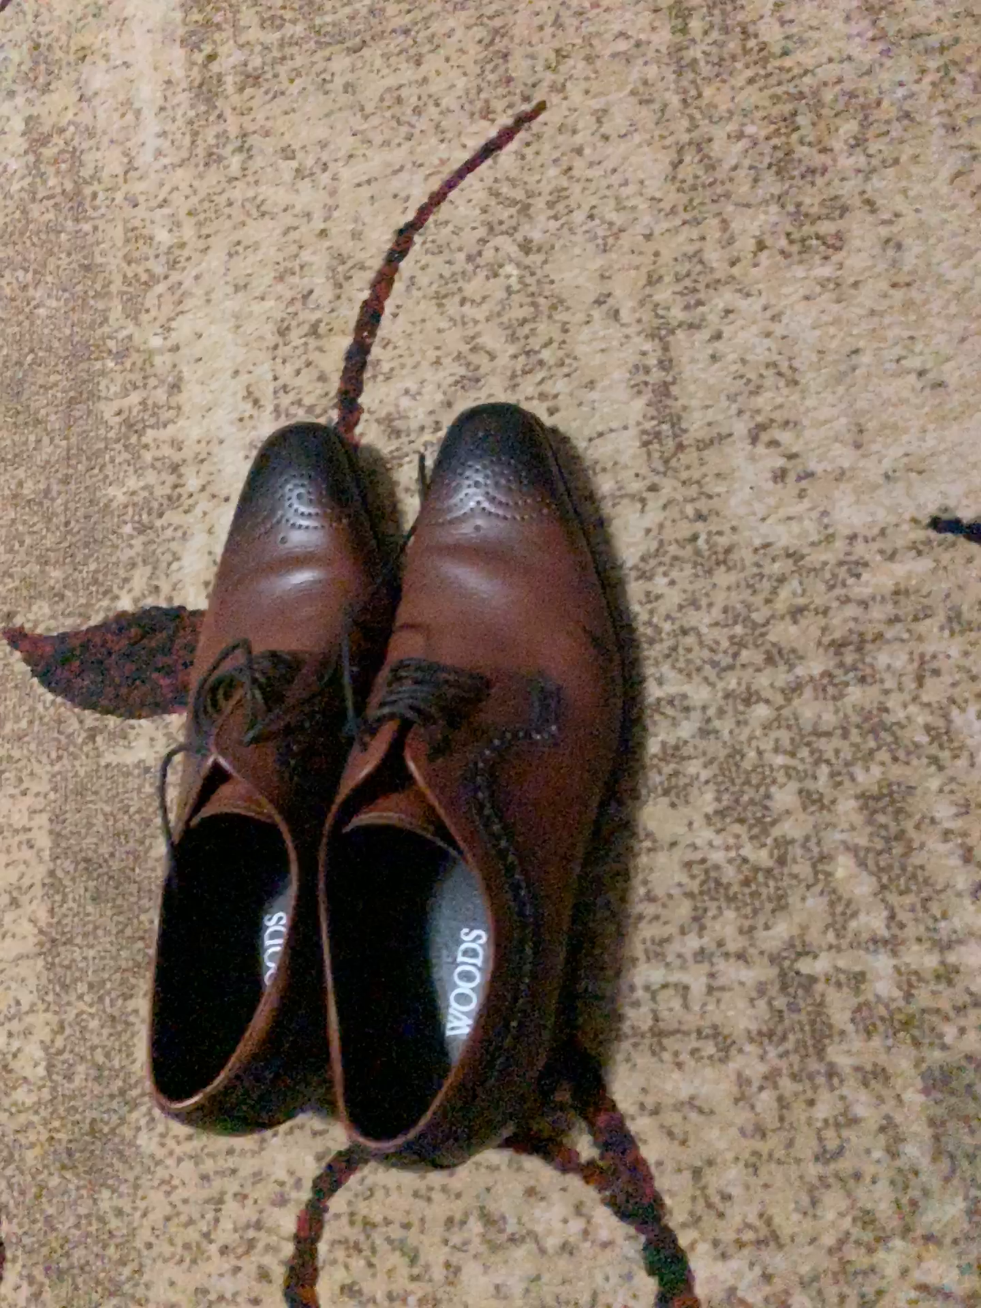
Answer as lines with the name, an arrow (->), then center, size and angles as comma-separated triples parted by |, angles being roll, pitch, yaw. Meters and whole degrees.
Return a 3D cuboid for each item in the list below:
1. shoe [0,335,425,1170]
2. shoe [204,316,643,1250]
shoe -> -0.093, 0.035, 0.392 | 0.096, 0.116, 0.274 | -6, 73, 18
shoe -> -0.009, 0.036, 0.362 | 0.096, 0.116, 0.274 | 0, 75, 19
